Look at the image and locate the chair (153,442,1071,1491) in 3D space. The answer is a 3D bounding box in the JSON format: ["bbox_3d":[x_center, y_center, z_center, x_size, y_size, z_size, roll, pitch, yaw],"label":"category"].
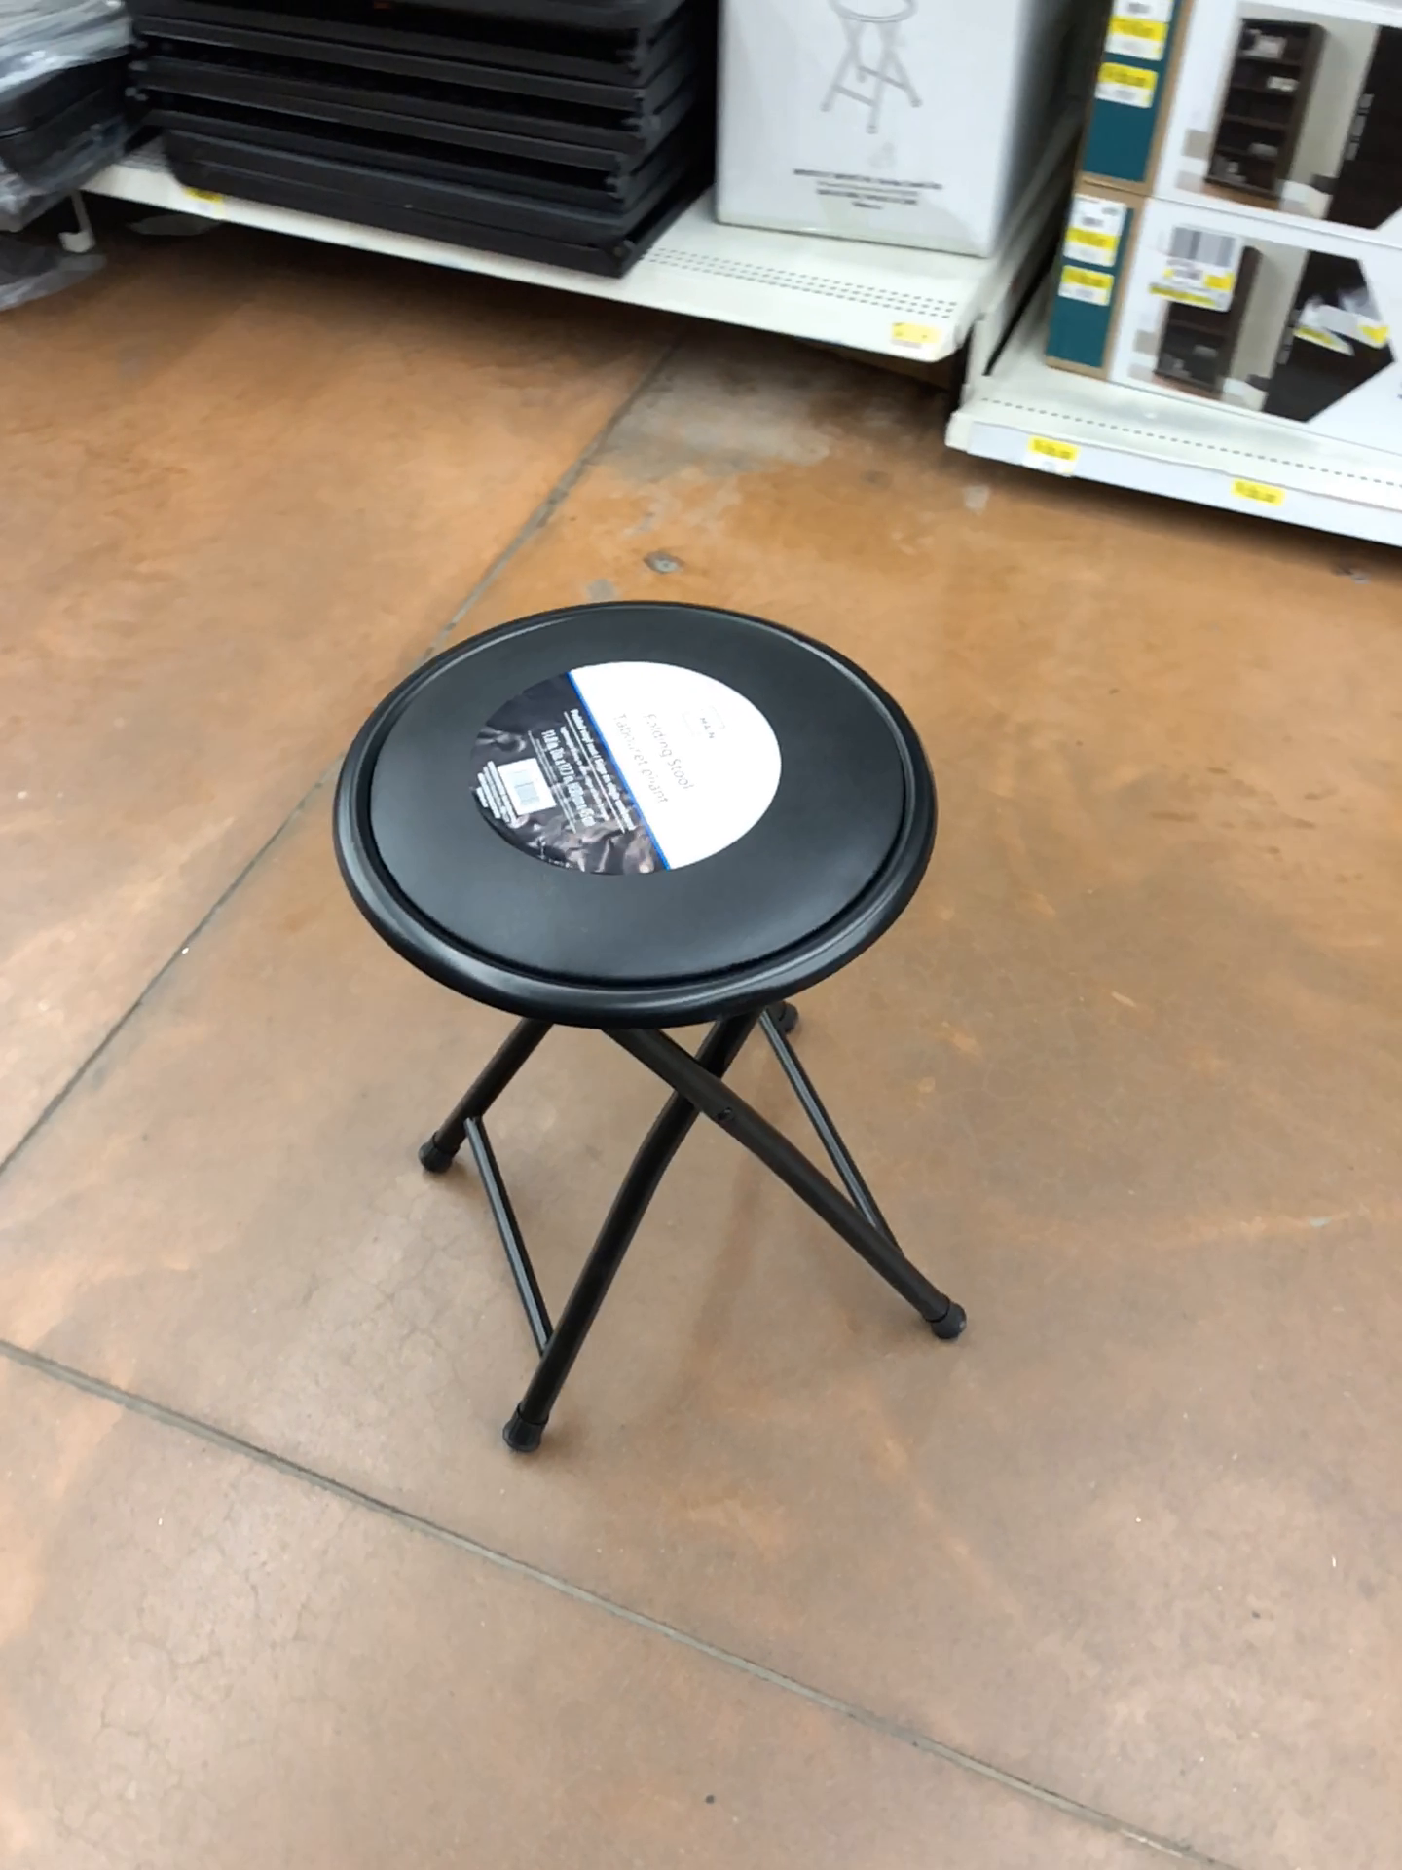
[{"bbox_3d":[-0.058,0.020,0.856,0.330,0.399,0.321,-17,51,-14],"label":"chair"}]
